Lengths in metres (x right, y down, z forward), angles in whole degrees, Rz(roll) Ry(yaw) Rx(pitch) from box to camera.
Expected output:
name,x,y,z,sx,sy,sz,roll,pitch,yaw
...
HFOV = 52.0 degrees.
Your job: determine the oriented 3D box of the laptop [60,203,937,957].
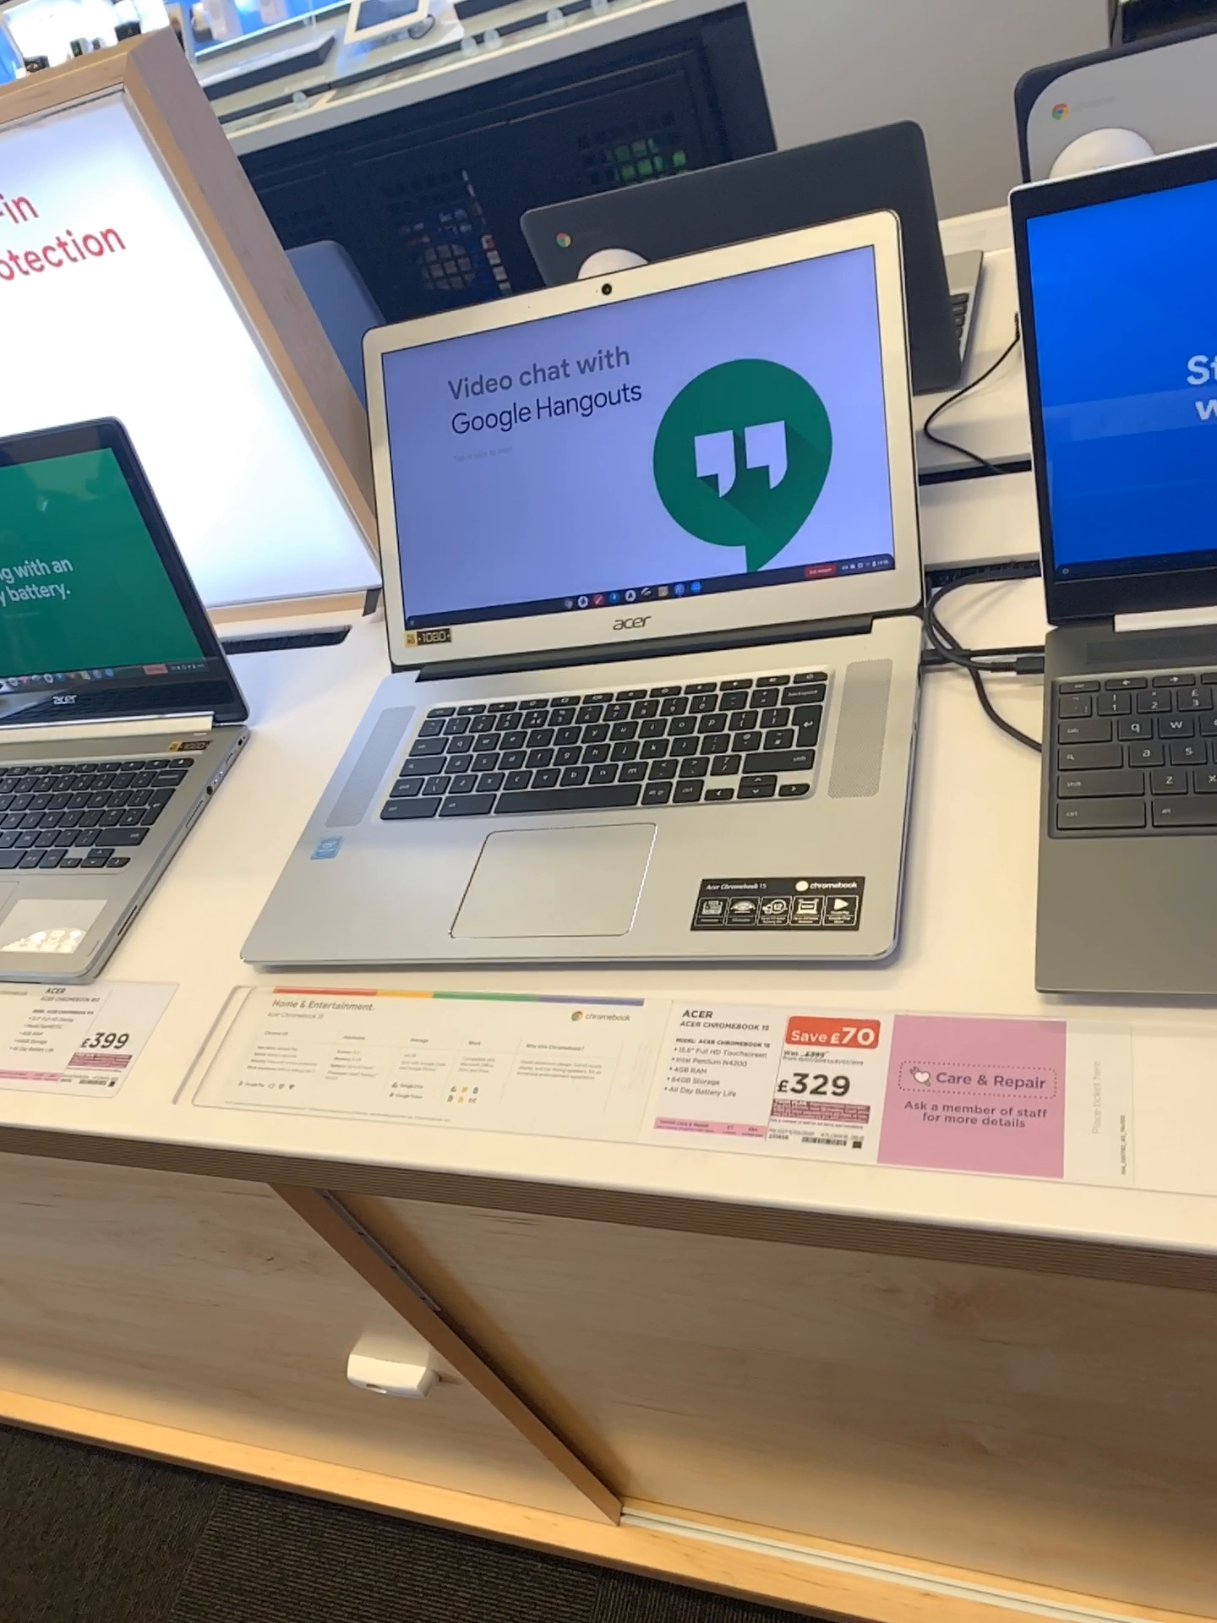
name,x,y,z,sx,sy,sz,roll,pitch,yaw
laptop,-0.021,-0.142,0.738,0.375,0.168,0.433,-3,45,22
